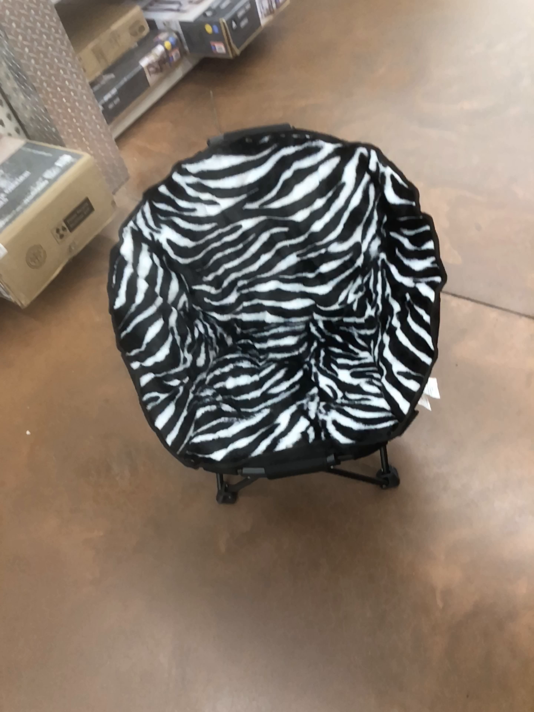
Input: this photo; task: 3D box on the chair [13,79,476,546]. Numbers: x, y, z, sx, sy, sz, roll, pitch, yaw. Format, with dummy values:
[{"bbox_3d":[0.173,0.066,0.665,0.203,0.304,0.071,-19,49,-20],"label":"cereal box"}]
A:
[{"bbox_3d":[0.004,-0.052,1.176,0.610,0.598,0.601,-8,51,8],"label":"chair"}]
